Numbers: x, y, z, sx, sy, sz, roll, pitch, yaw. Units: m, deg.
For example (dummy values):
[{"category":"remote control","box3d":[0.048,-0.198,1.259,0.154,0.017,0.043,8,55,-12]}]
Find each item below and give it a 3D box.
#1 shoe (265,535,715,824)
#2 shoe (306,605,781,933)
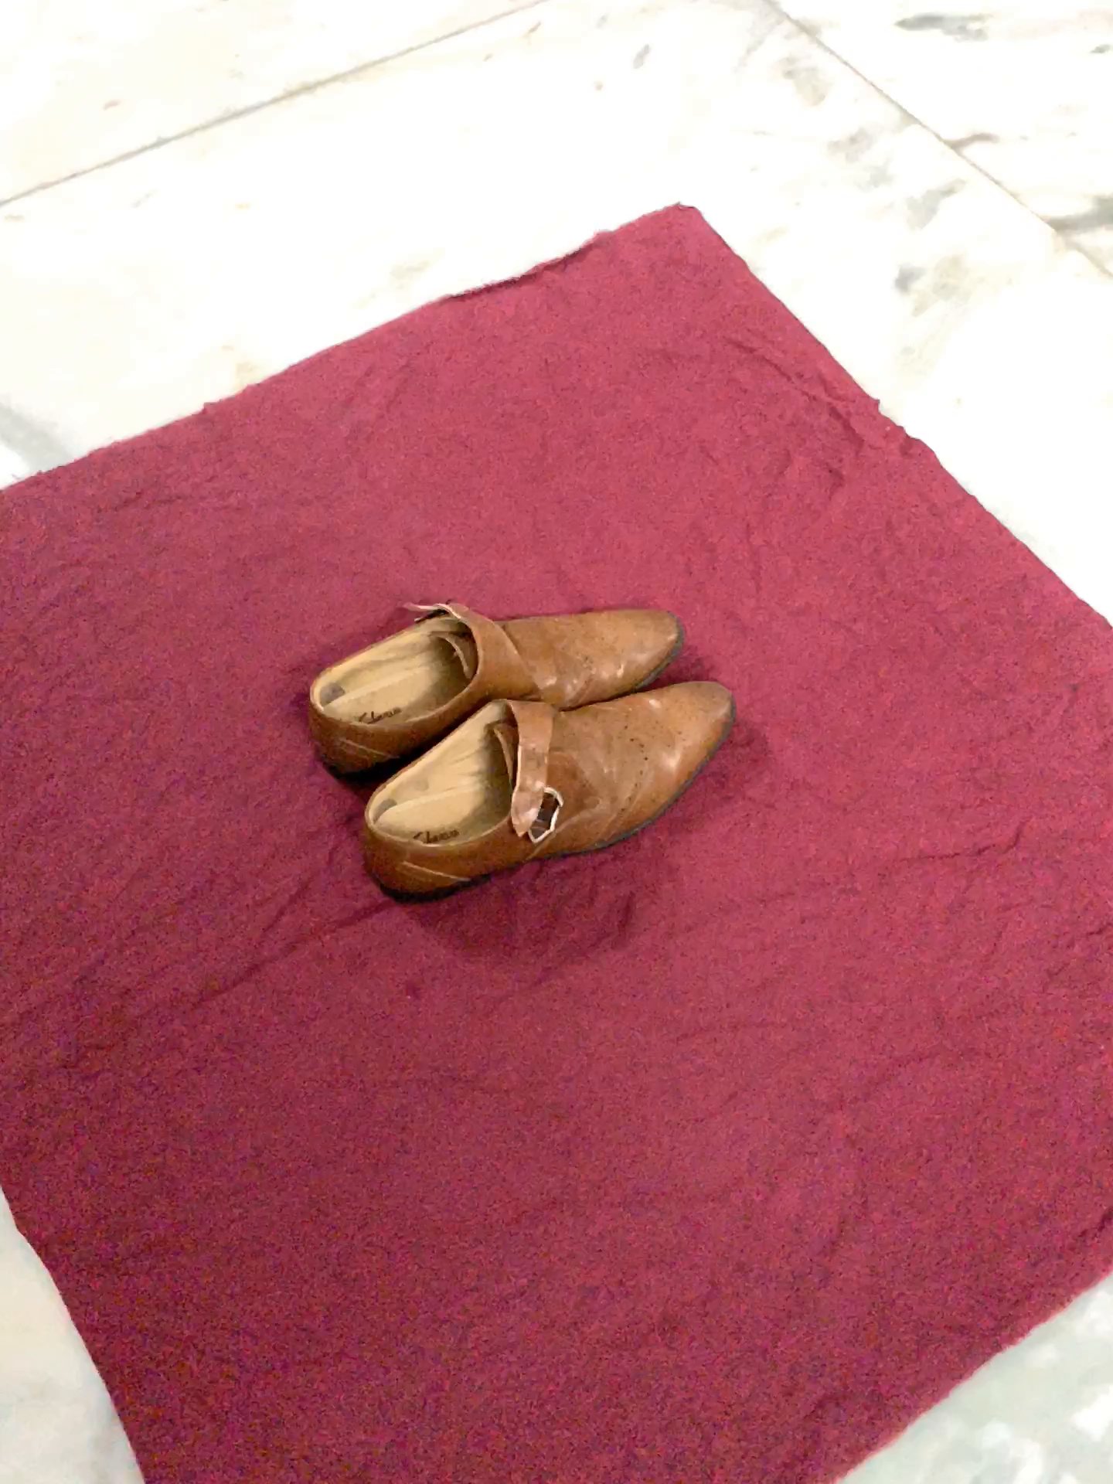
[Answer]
[{"category":"shoe","box3d":[-0.047,-0.048,0.861,0.310,0.089,0.101,-18,62,-8]},{"category":"shoe","box3d":[-0.007,0.017,0.795,0.300,0.089,0.101,-21,62,-10]}]
